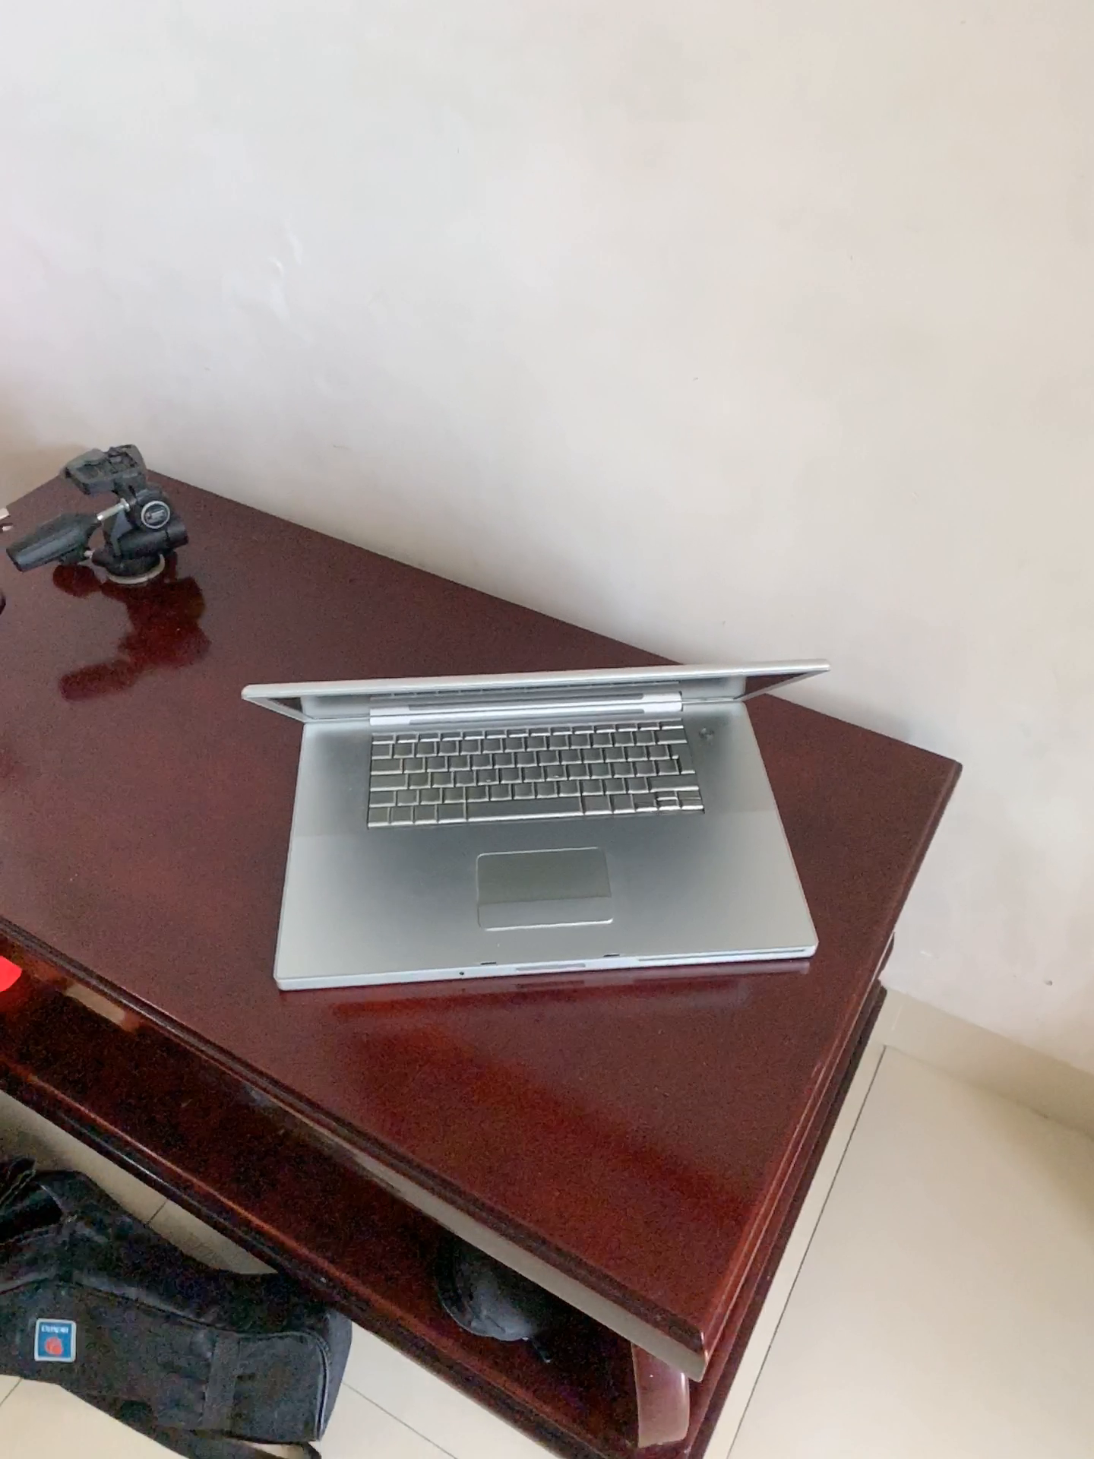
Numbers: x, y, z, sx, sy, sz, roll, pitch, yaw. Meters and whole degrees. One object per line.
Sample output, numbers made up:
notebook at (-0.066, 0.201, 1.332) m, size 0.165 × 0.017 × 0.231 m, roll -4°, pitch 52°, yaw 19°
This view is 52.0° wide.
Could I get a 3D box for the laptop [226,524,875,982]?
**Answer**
laptop at (-0.006, 0.009, 0.846) m, size 0.399 × 0.193 × 0.266 m, roll -3°, pitch 44°, yaw -5°
